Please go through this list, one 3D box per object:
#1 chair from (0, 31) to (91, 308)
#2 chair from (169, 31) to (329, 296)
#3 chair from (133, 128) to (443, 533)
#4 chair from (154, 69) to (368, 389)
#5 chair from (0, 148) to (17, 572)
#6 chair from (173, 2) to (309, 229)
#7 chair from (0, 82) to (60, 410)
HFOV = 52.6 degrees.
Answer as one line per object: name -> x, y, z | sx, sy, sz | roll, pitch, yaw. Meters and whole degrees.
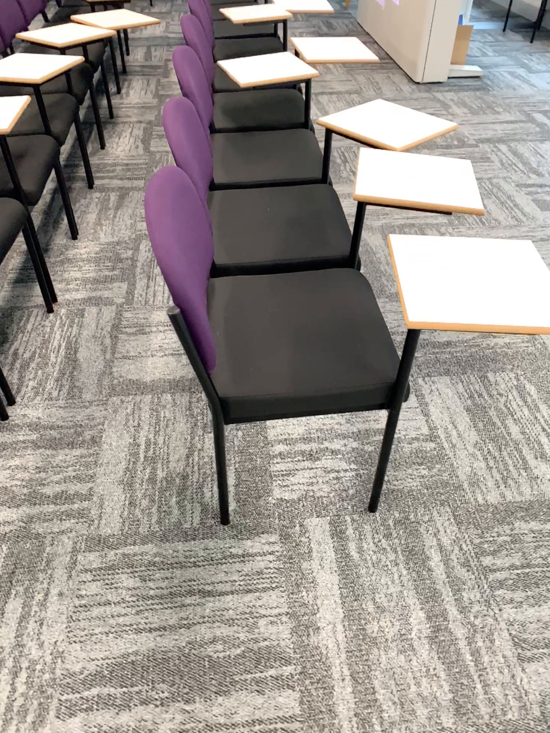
chair -> -1.064, -0.694, 2.013 | 0.500, 0.801, 0.521 | 0, 42, -1
chair -> -0.103, -0.761, 2.121 | 0.480, 0.791, 0.521 | -4, 42, -5
chair -> -0.002, -0.067, 1.352 | 0.500, 0.801, 0.521 | -4, 42, -5
chair -> -0.057, -0.412, 1.733 | 0.490, 0.791, 0.521 | -4, 42, -5
chair -> -1.039, 0.014, 1.245 | 0.500, 0.801, 0.521 | 0, 42, 0
chair -> -0.151, -1.119, 2.505 | 0.500, 0.791, 0.521 | -4, 42, -5
chair -> -1.052, -0.336, 1.636 | 0.500, 0.781, 0.521 | -1, 42, -1
